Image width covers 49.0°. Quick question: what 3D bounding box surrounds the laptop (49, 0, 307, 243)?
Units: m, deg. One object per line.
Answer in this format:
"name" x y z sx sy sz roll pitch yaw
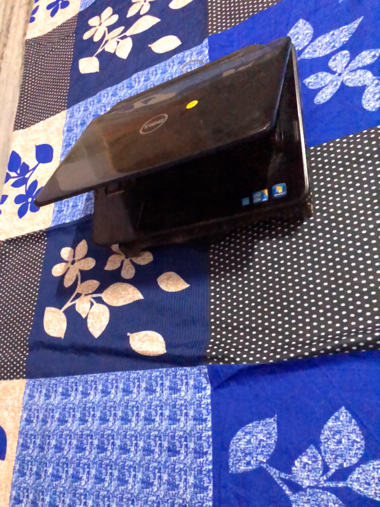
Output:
"laptop" -0.035 -0.173 0.605 0.362 0.092 0.236 -10 72 30
